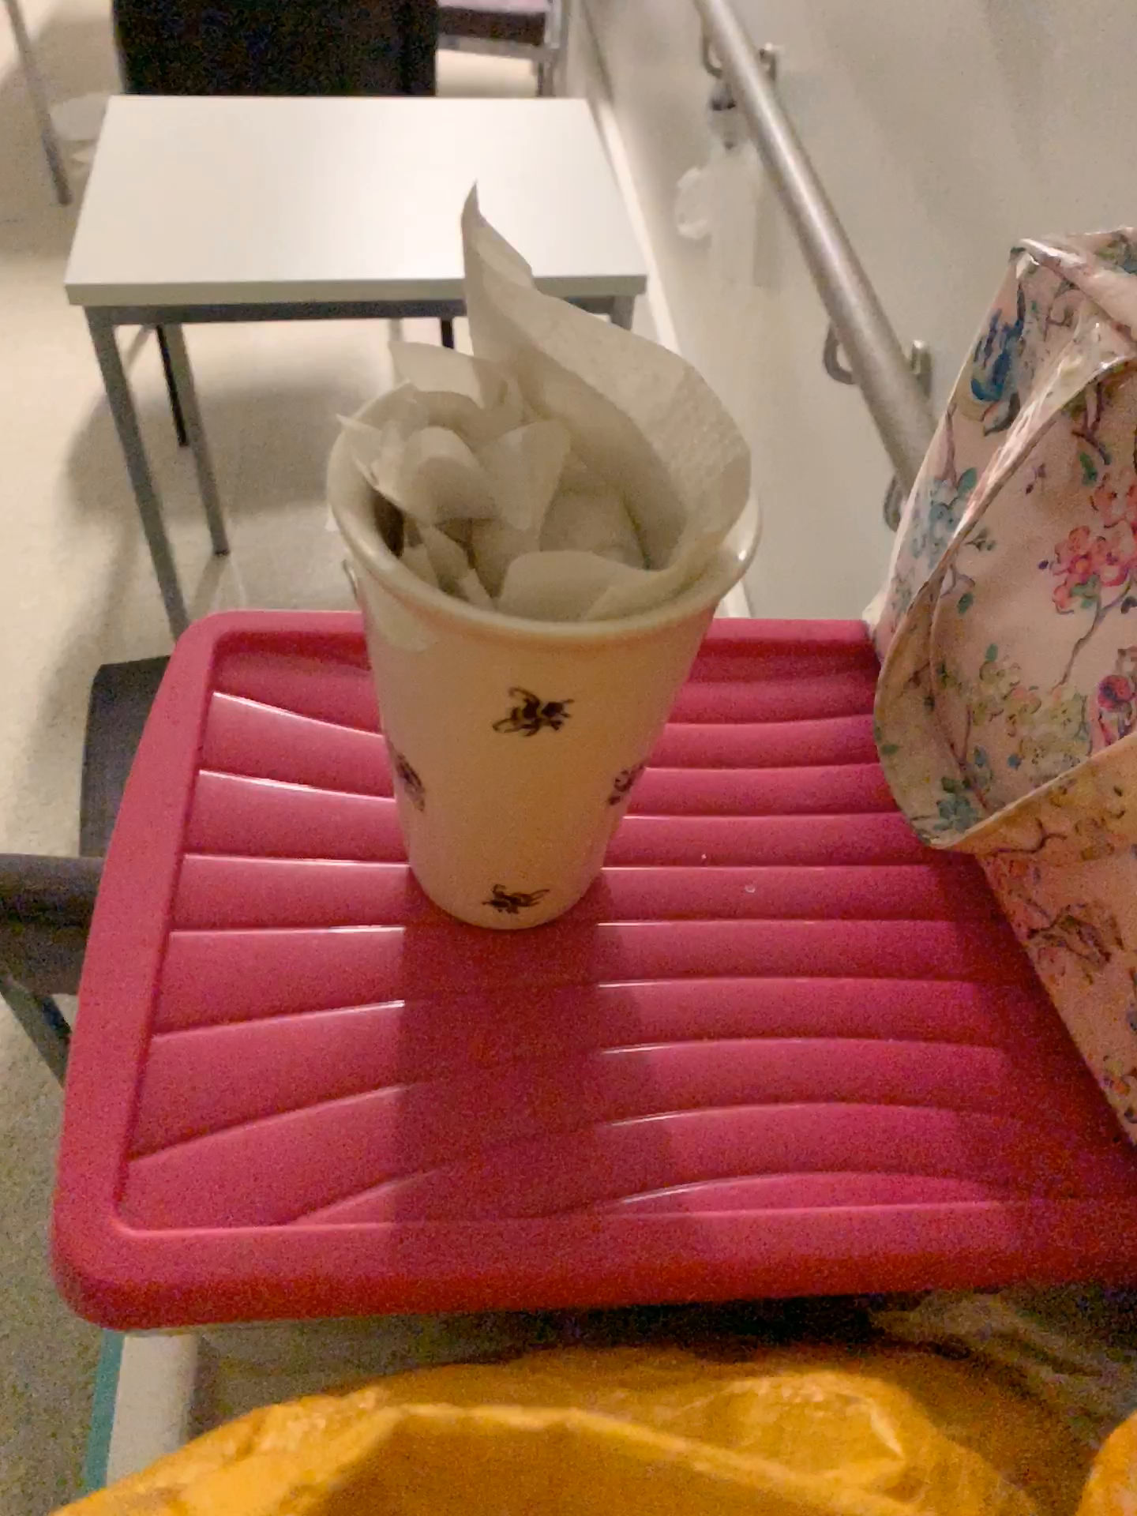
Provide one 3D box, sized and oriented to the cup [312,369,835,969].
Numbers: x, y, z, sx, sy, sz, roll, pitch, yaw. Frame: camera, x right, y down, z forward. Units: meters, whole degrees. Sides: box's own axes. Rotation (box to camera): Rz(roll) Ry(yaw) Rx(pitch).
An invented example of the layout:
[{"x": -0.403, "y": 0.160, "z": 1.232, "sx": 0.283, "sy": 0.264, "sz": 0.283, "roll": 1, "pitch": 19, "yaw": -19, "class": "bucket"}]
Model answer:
[{"x": -0.010, "y": -0.020, "z": 0.287, "sx": 0.098, "sy": 0.112, "sz": 0.091, "roll": 4, "pitch": 50, "yaw": -5, "class": "cup"}]
